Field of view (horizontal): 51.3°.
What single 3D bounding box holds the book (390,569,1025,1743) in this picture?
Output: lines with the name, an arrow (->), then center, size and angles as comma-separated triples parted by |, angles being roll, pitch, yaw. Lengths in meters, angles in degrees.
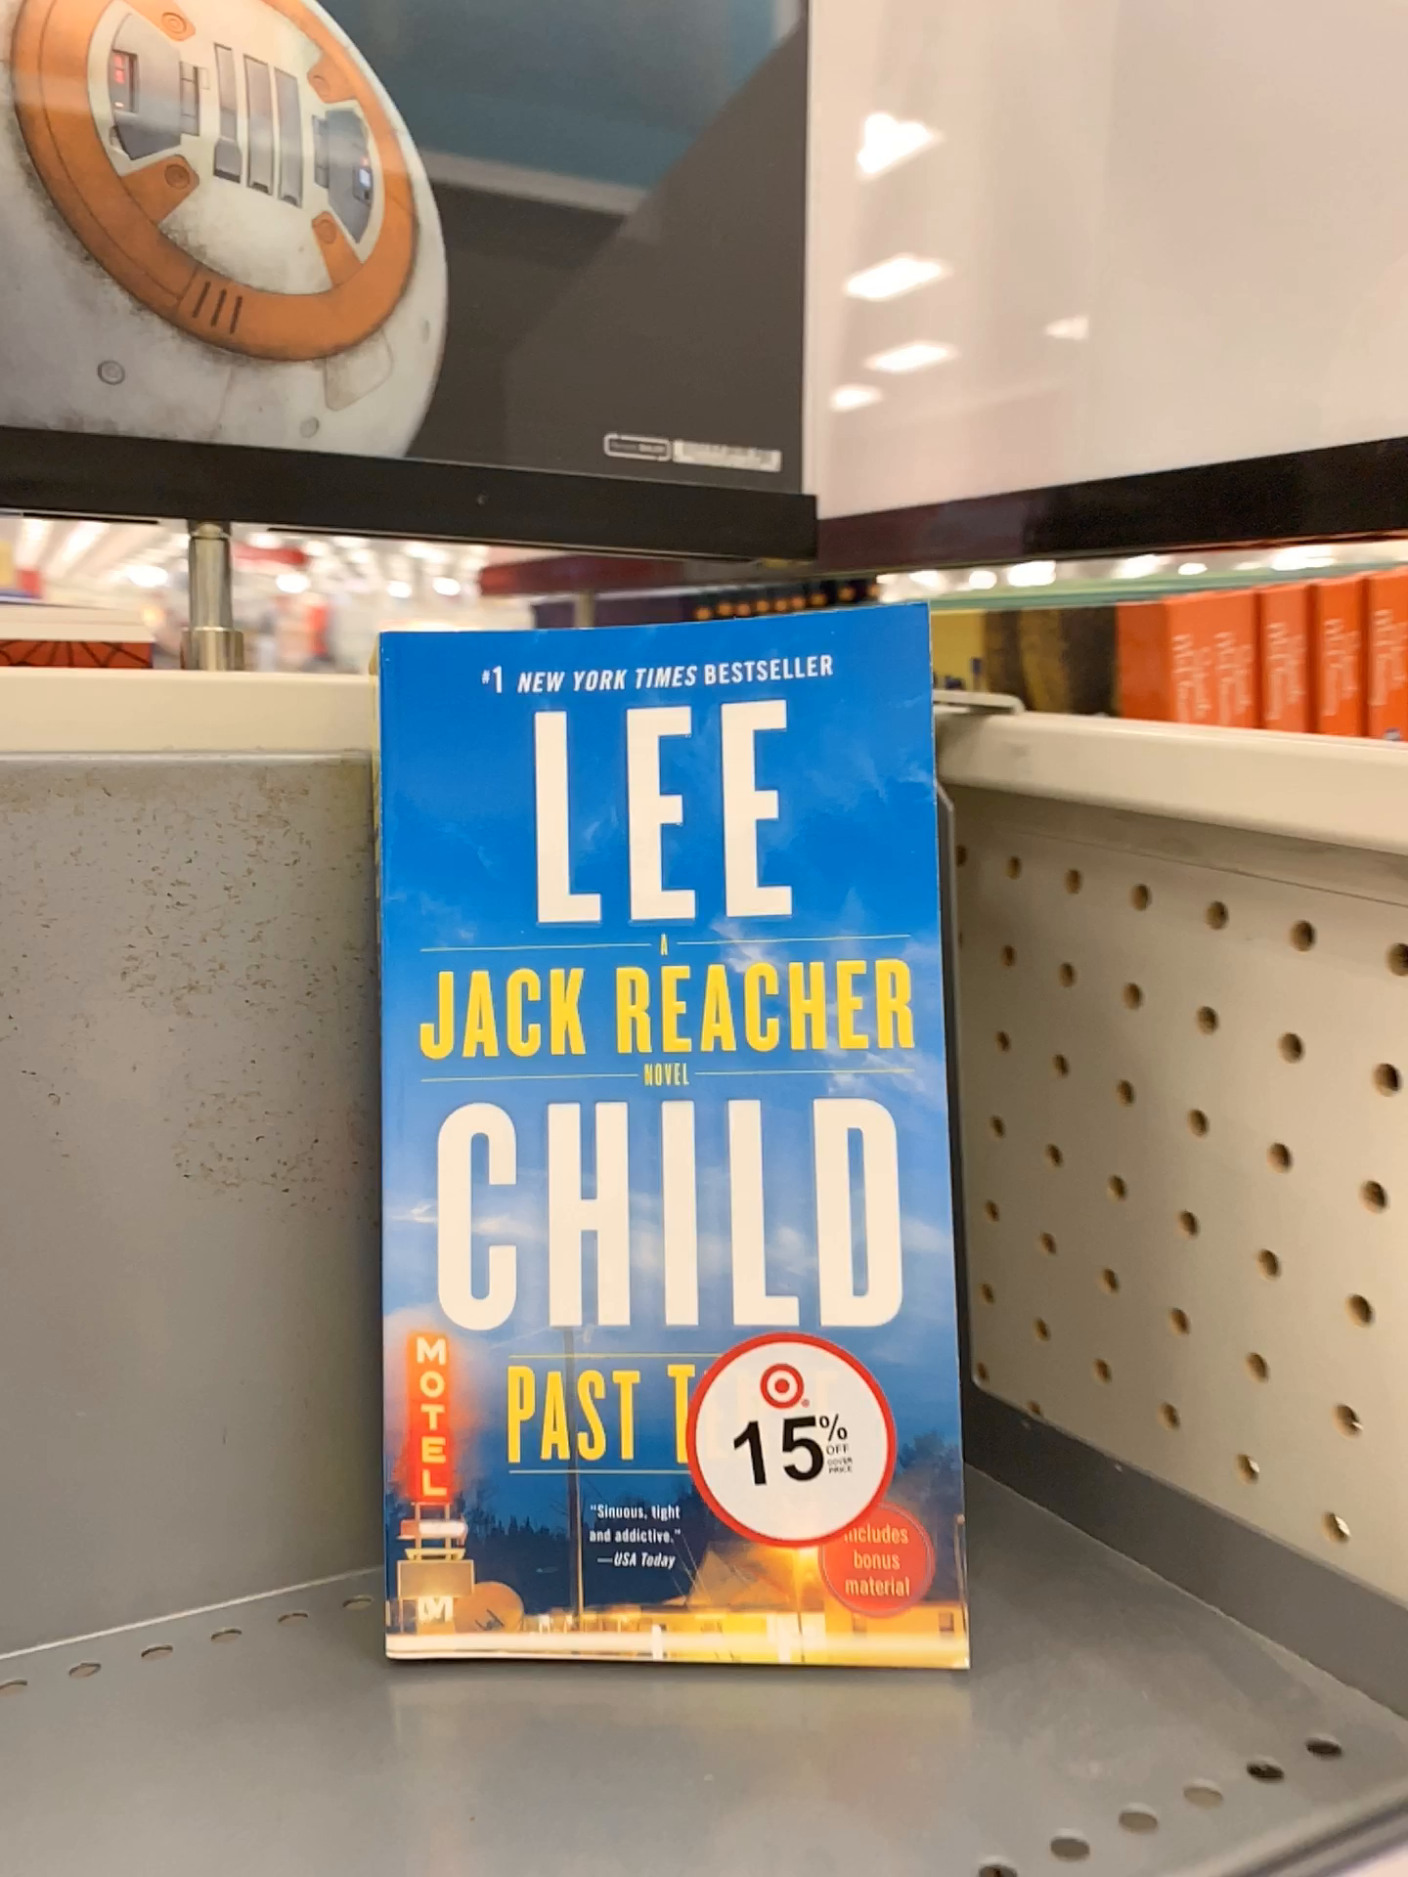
book -> -0.007, 0.037, 0.299 | 0.110, 0.197, 0.080 | 0, -7, -12
